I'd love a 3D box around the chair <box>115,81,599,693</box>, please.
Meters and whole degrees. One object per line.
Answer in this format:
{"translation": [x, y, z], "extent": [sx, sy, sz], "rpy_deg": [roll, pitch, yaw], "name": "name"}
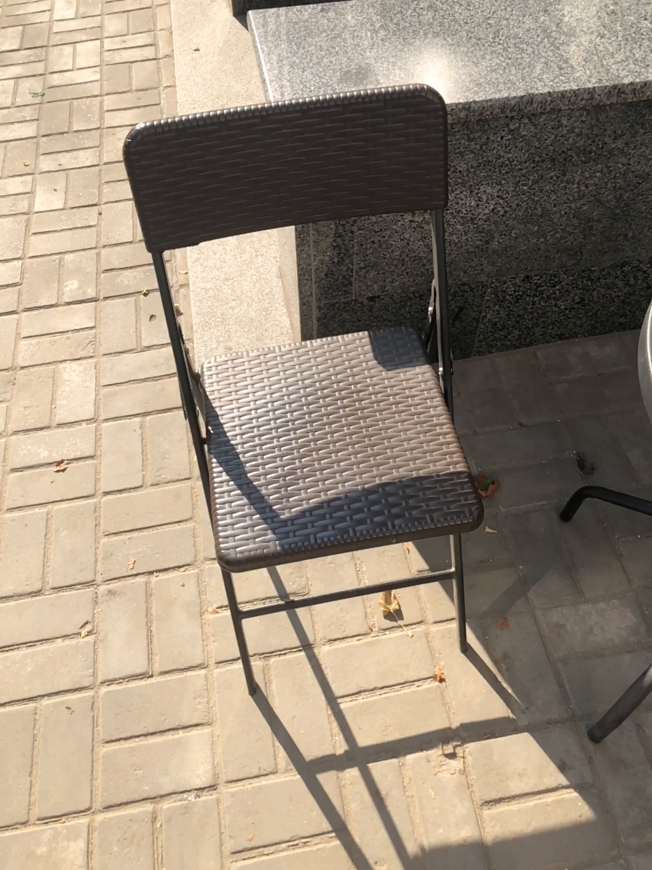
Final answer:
{"translation": [-0.002, -0.008, 1.086], "extent": [0.430, 0.778, 0.481], "rpy_deg": [-9, 54, -6], "name": "chair"}
